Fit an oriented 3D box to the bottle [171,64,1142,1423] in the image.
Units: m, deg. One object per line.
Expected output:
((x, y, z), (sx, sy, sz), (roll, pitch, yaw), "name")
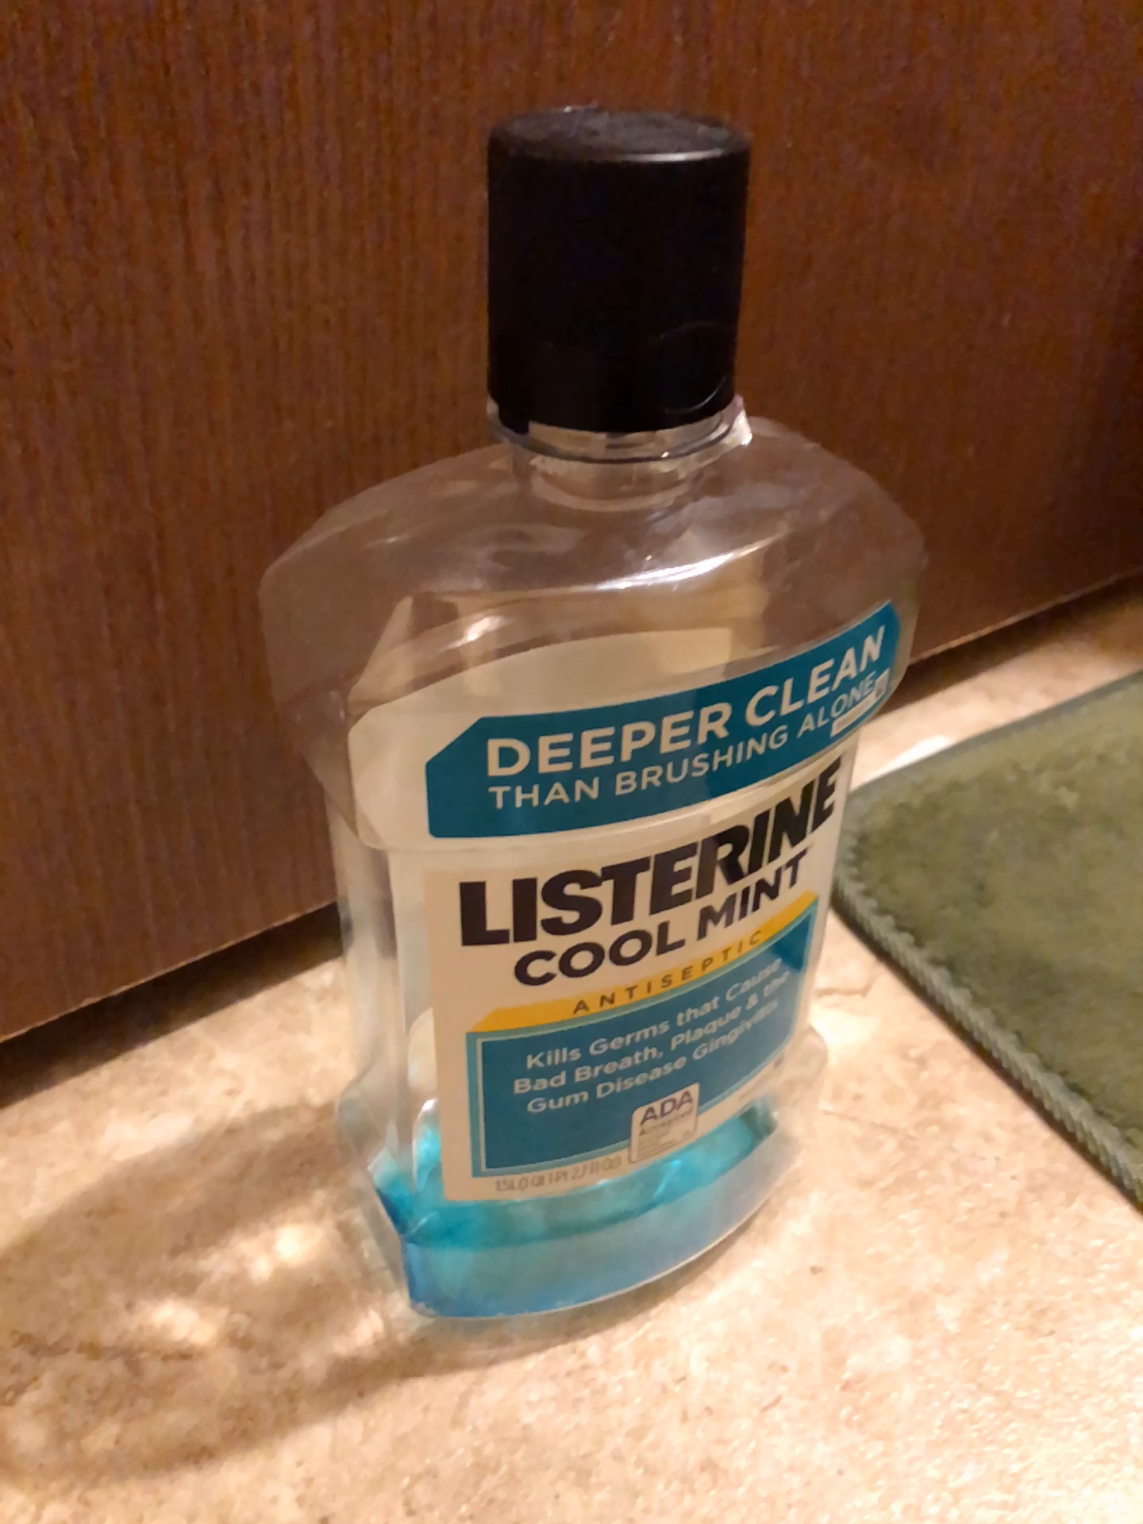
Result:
((0.018, 0.000, 0.245), (0.130, 0.219, 0.090), (-17, 40, -24), "bottle")
